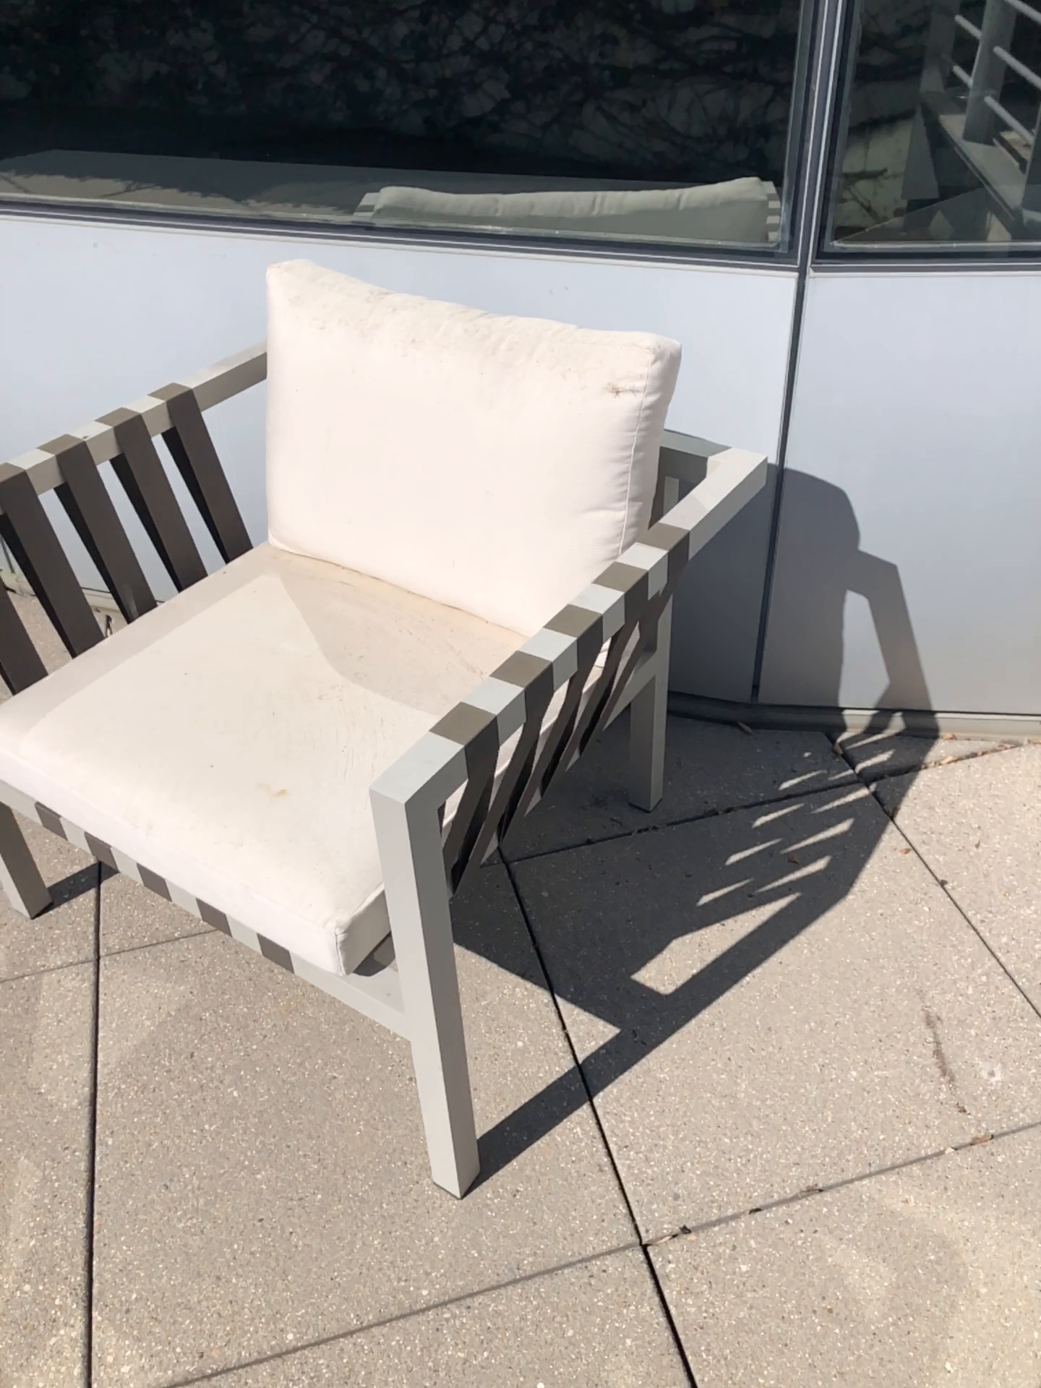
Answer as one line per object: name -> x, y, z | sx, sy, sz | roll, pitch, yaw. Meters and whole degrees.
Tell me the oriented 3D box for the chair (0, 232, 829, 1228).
chair -> -0.212, -0.053, 1.483 | 0.872, 0.736, 0.782 | 21, 44, 28
